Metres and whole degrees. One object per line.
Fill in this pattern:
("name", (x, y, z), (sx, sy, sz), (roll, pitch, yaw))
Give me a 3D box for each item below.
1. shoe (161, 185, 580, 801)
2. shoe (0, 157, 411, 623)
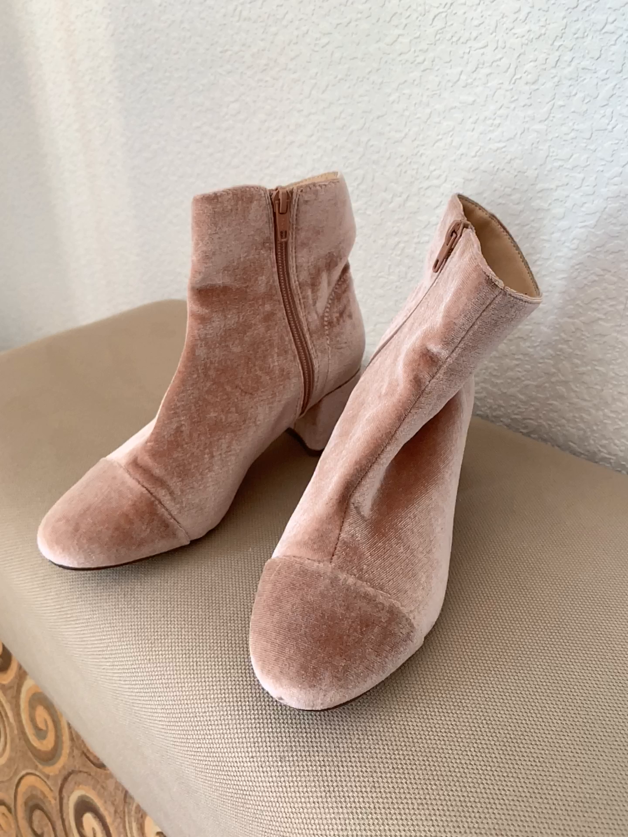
("shoe", (0.053, 0.003, 0.335), (0.100, 0.169, 0.271), (14, 35, 20))
("shoe", (-0.062, -0.035, 0.372), (0.100, 0.169, 0.231), (28, 42, 36))
